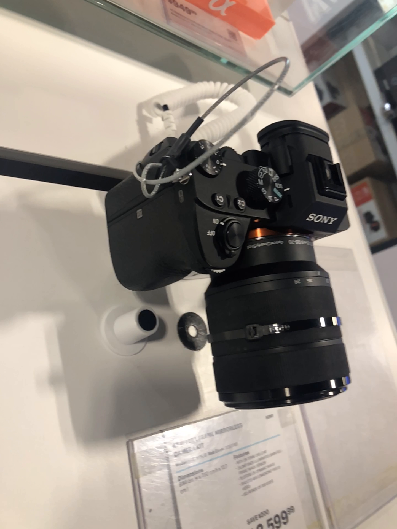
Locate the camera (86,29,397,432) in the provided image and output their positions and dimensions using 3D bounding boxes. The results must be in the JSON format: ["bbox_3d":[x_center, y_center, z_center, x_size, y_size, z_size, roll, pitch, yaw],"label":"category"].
[{"bbox_3d":[0.033,-0.005,0.214,0.120,0.100,0.130,1,70,-43],"label":"camera"}]
